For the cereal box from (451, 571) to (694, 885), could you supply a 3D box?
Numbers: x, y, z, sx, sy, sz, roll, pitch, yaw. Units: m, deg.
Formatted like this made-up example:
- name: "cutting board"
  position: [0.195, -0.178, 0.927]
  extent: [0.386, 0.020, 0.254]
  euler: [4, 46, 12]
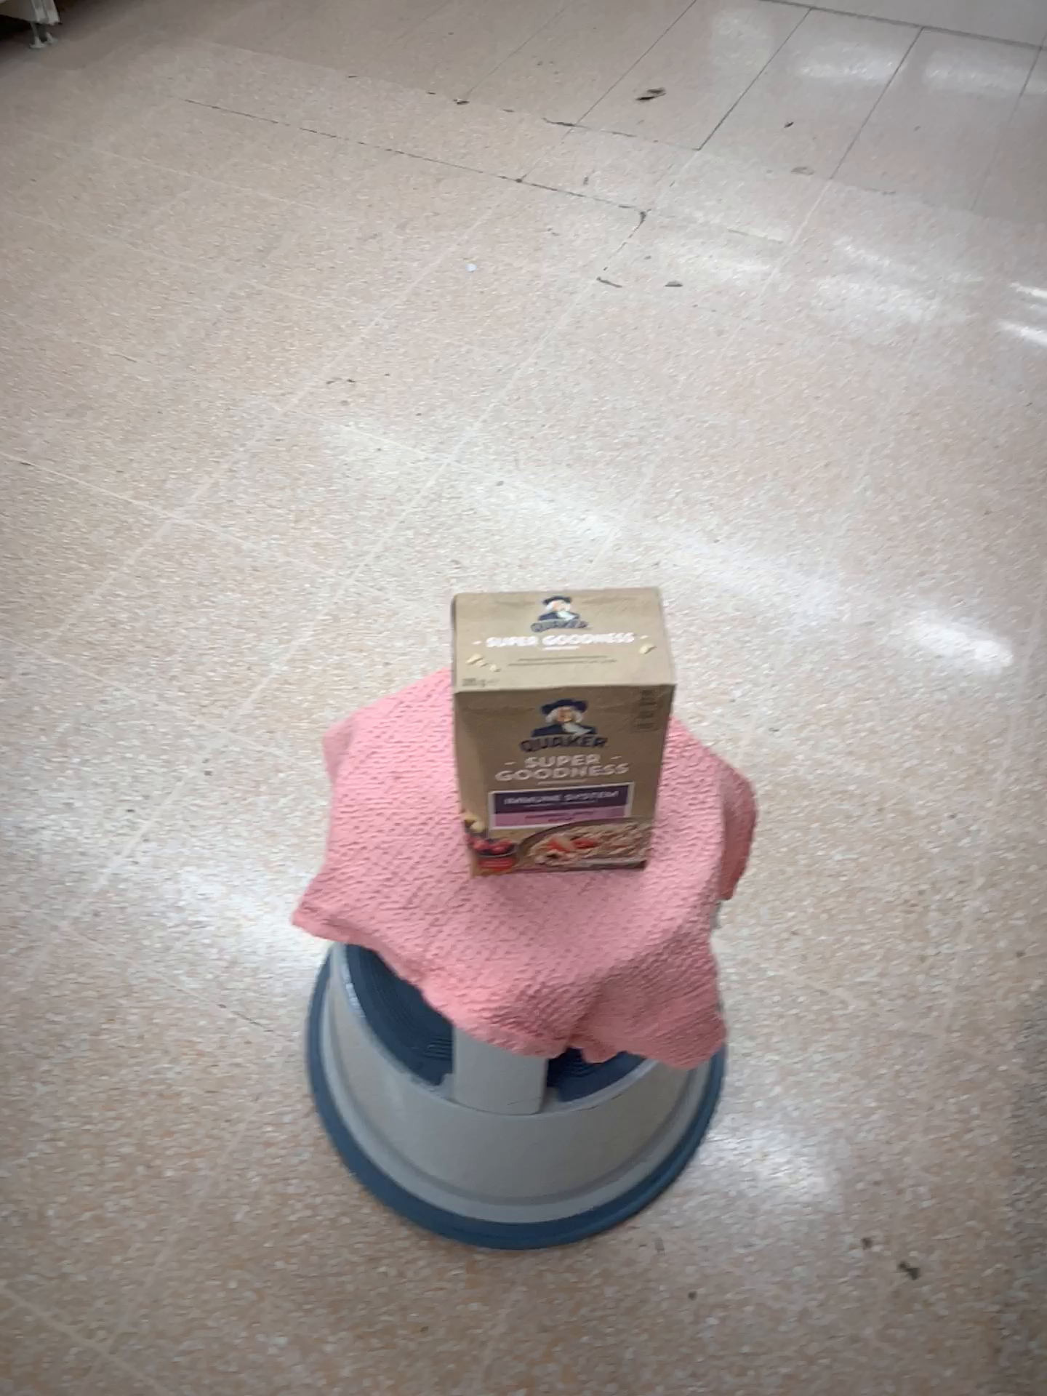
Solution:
- name: "cereal box"
  position: [0.024, 0.027, 0.686]
  extent: [0.130, 0.208, 0.091]
  euler: [-3, 52, -3]
